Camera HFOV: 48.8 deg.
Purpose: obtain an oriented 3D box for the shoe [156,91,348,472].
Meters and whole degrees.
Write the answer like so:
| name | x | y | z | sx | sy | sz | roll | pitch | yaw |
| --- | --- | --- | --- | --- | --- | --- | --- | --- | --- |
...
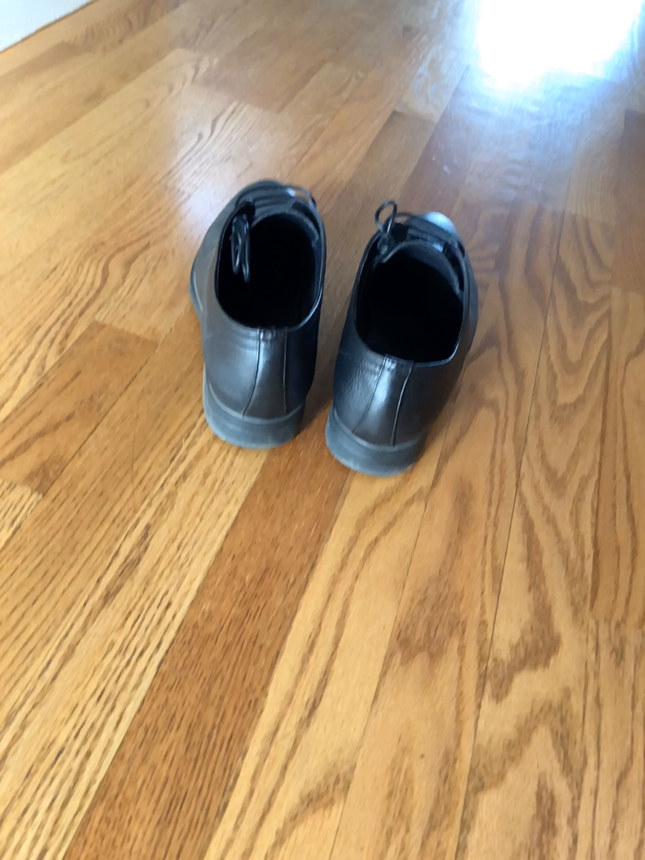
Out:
| name | x | y | z | sx | sy | sz | roll | pitch | yaw |
| --- | --- | --- | --- | --- | --- | --- | --- | --- | --- |
| shoe | -0.050 | -0.130 | 0.553 | 0.110 | 0.123 | 0.305 | 6 | 47 | -7 |

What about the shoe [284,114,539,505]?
| name | x | y | z | sx | sy | sz | roll | pitch | yaw |
| --- | --- | --- | --- | --- | --- | --- | --- | --- | --- |
| shoe | 0.078 | -0.109 | 0.544 | 0.110 | 0.123 | 0.300 | 18 | 47 | 5 |
